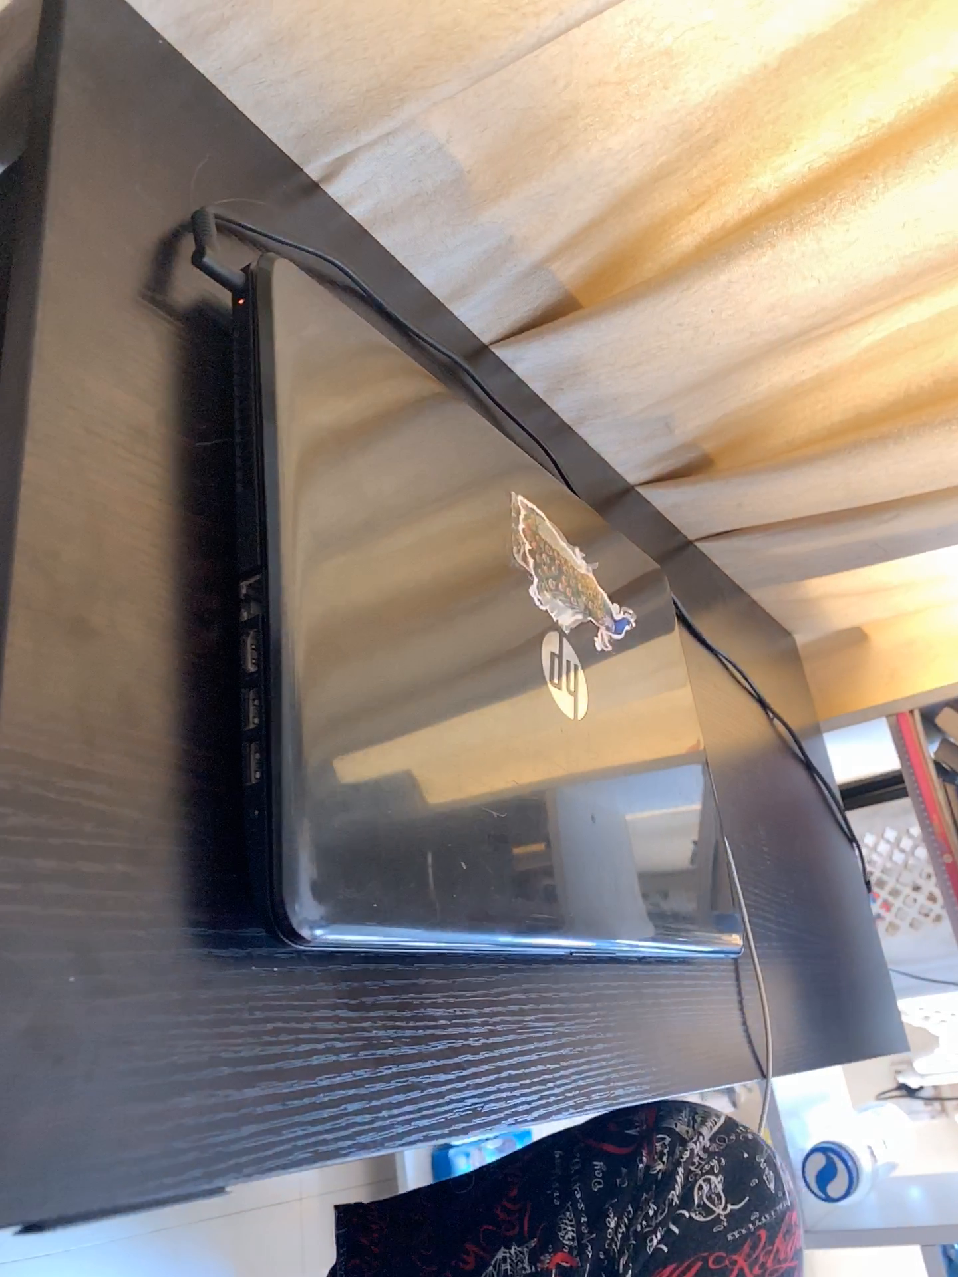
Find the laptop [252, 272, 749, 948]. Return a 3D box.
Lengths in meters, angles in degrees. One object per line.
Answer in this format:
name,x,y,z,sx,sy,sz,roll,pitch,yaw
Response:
laptop,0.036,0.023,0.471,0.375,0.006,0.237,25,52,-52
